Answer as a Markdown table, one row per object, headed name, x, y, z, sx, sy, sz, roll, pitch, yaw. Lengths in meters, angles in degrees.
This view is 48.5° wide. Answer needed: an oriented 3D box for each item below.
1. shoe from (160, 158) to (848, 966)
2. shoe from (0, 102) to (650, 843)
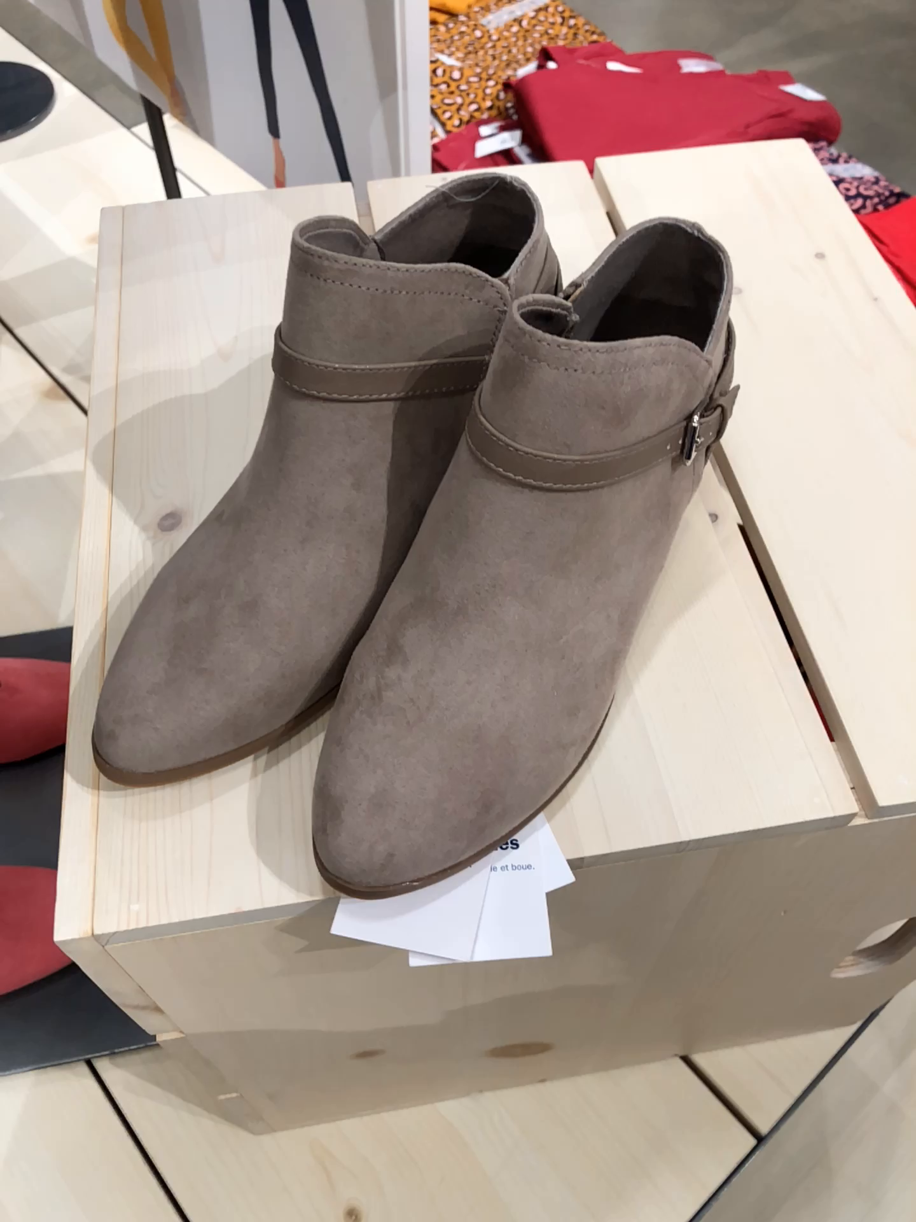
| name | x | y | z | sx | sy | sz | roll | pitch | yaw |
| --- | --- | --- | --- | --- | --- | --- | --- | --- | --- |
| shoe | 0.030 | -0.029 | 0.345 | 0.090 | 0.110 | 0.250 | 27 | 59 | 17 |
| shoe | -0.042 | -0.060 | 0.363 | 0.090 | 0.110 | 0.250 | 31 | 60 | 20 |
